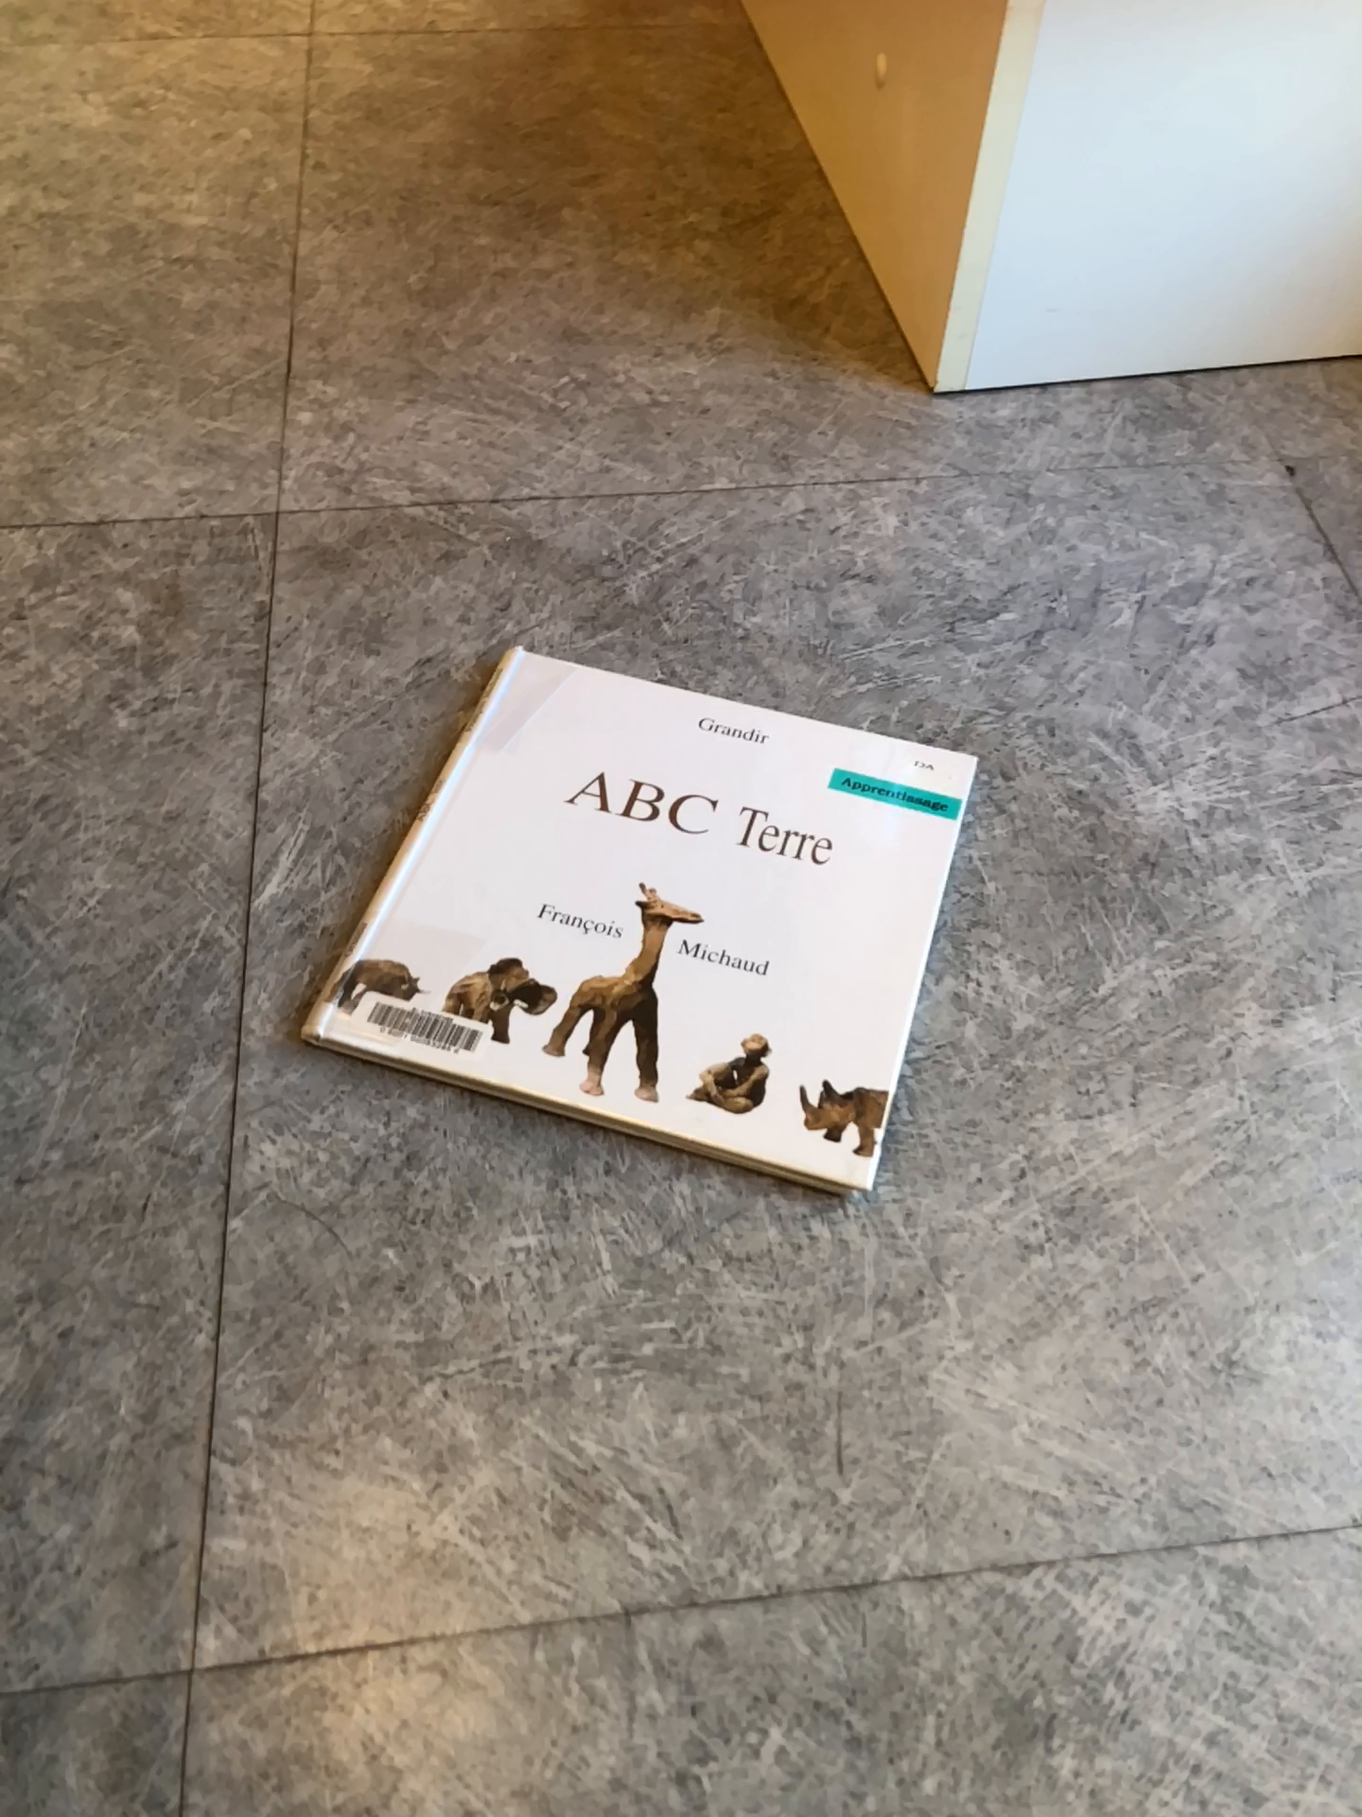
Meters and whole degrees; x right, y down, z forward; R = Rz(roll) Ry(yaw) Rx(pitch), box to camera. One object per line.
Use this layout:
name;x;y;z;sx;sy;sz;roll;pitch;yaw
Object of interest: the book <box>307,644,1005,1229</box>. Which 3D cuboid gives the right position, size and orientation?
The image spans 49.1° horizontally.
book;0.001;-0.002;0.539;0.200;0.020;0.195;15;54;8
